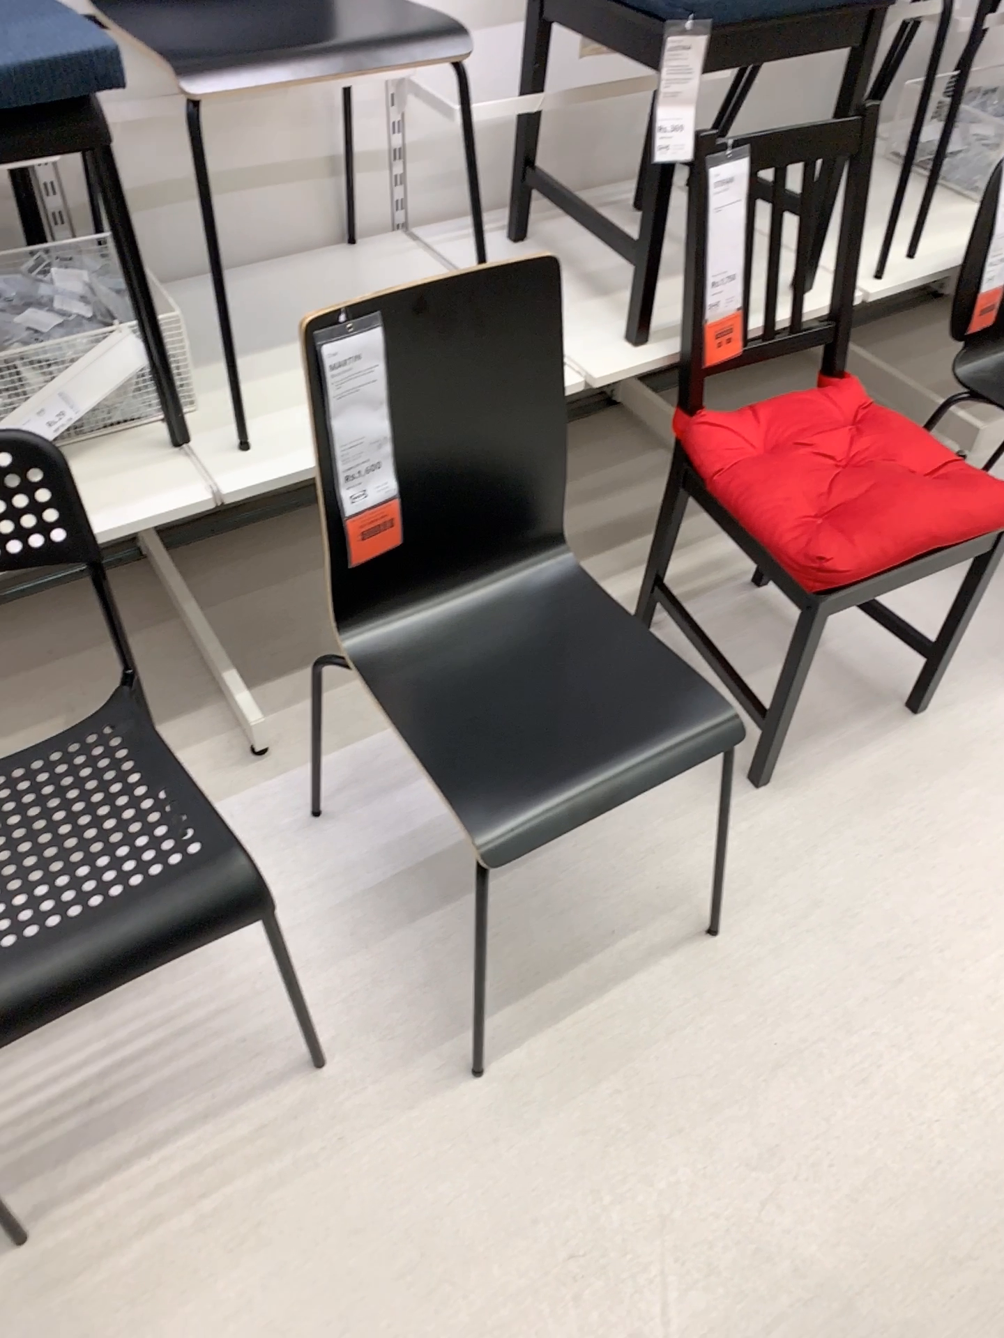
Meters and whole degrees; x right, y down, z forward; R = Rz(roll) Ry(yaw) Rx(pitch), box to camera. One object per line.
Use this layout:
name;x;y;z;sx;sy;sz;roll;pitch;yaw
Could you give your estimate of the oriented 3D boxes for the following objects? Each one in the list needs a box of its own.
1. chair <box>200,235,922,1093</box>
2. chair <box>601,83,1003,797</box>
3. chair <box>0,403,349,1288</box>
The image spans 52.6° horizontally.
chair;0.017;0.007;1.322;0.480;0.827;0.592;-23;51;-23
chair;0.518;-0.321;1.553;0.450;0.857;0.481;-22;51;-22
chair;-0.531;0.206;1.149;0.471;0.727;0.531;-23;52;-23
